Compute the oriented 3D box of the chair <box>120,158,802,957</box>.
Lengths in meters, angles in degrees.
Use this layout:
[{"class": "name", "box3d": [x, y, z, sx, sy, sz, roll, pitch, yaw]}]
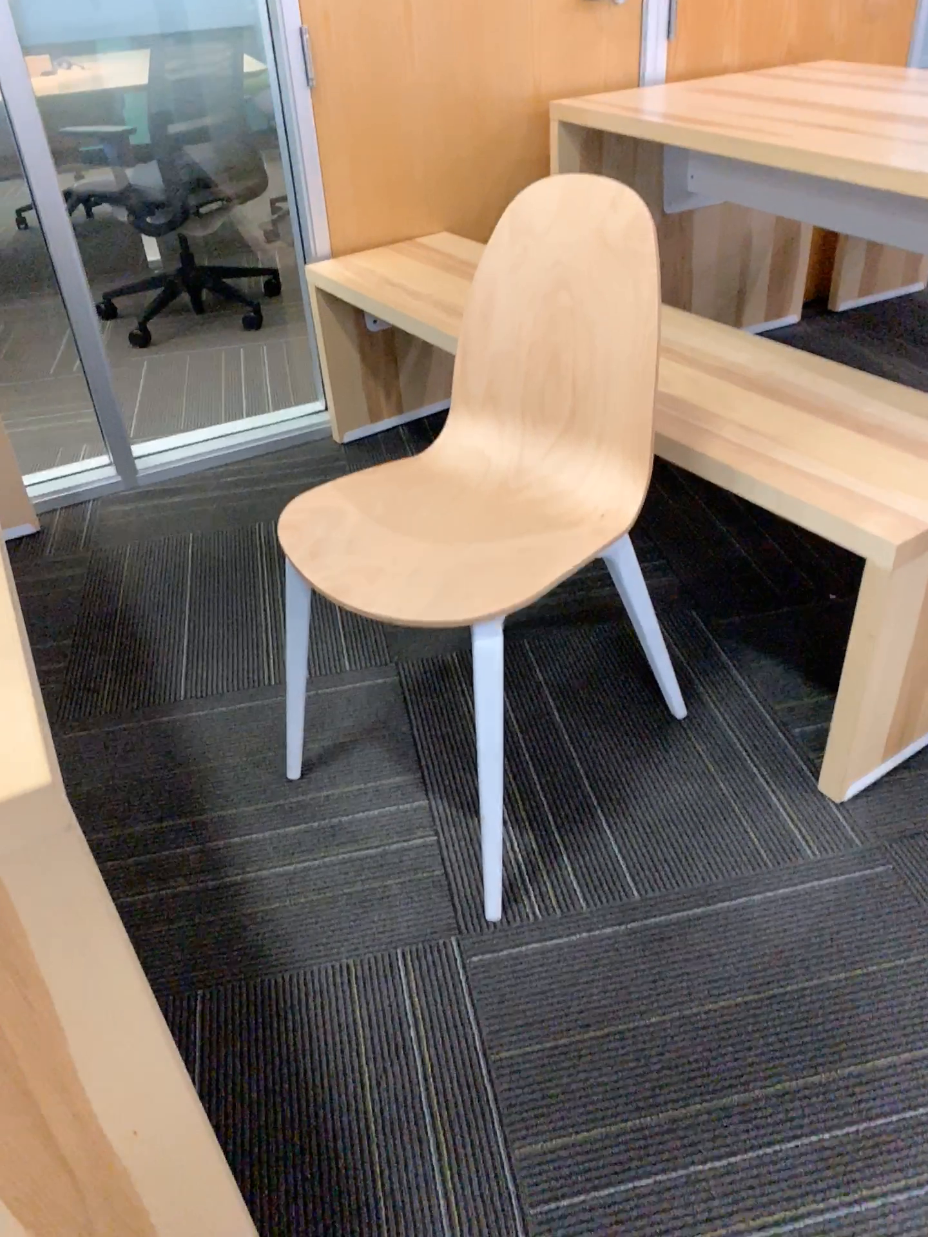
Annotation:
[{"class": "chair", "box3d": [0.029, -0.124, 1.361, 0.542, 0.835, 0.601, 26, 45, 36]}]
